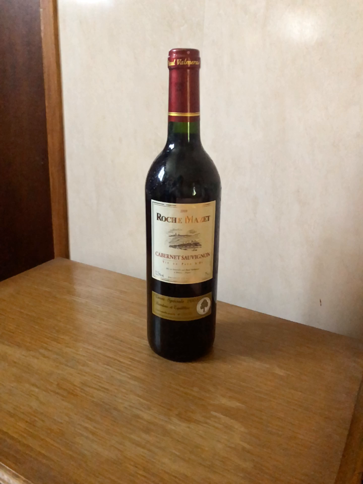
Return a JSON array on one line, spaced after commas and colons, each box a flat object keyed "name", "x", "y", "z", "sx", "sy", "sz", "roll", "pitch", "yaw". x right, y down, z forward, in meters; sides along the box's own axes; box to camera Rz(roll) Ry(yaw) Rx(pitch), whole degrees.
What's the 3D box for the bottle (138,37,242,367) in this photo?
[{"name": "bottle", "x": 0.001, "y": -0.029, "z": 0.396, "sx": 0.080, "sy": 0.299, "sz": 0.080, "roll": 2, "pitch": 19, "yaw": -1}]
